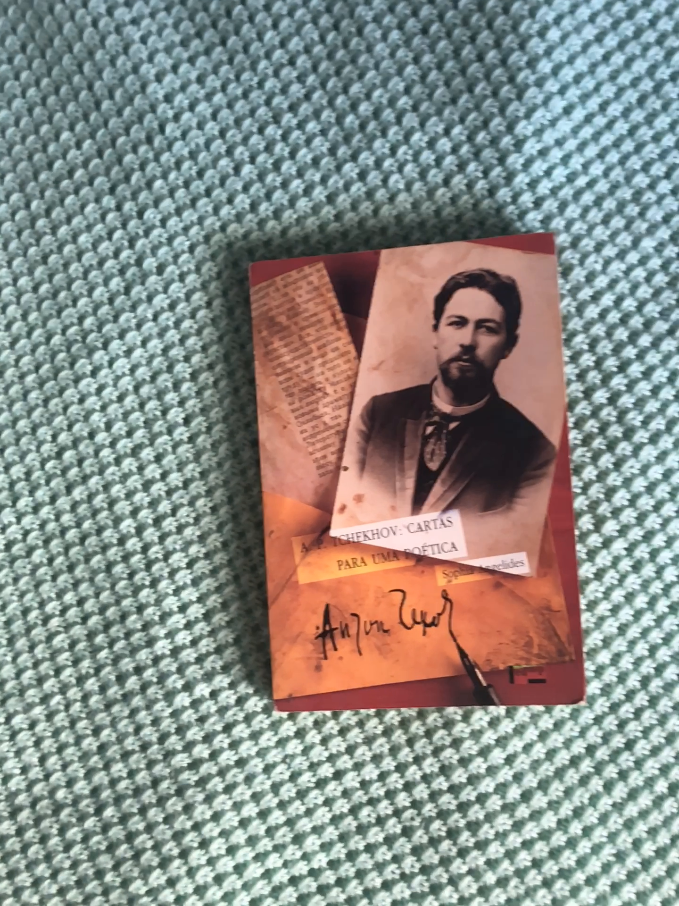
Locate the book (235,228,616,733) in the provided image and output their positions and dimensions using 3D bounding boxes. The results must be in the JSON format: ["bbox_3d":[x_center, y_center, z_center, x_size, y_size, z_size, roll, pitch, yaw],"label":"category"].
[{"bbox_3d":[0.037,0.013,0.345,0.150,0.030,0.210,-5,89,2],"label":"book"}]
